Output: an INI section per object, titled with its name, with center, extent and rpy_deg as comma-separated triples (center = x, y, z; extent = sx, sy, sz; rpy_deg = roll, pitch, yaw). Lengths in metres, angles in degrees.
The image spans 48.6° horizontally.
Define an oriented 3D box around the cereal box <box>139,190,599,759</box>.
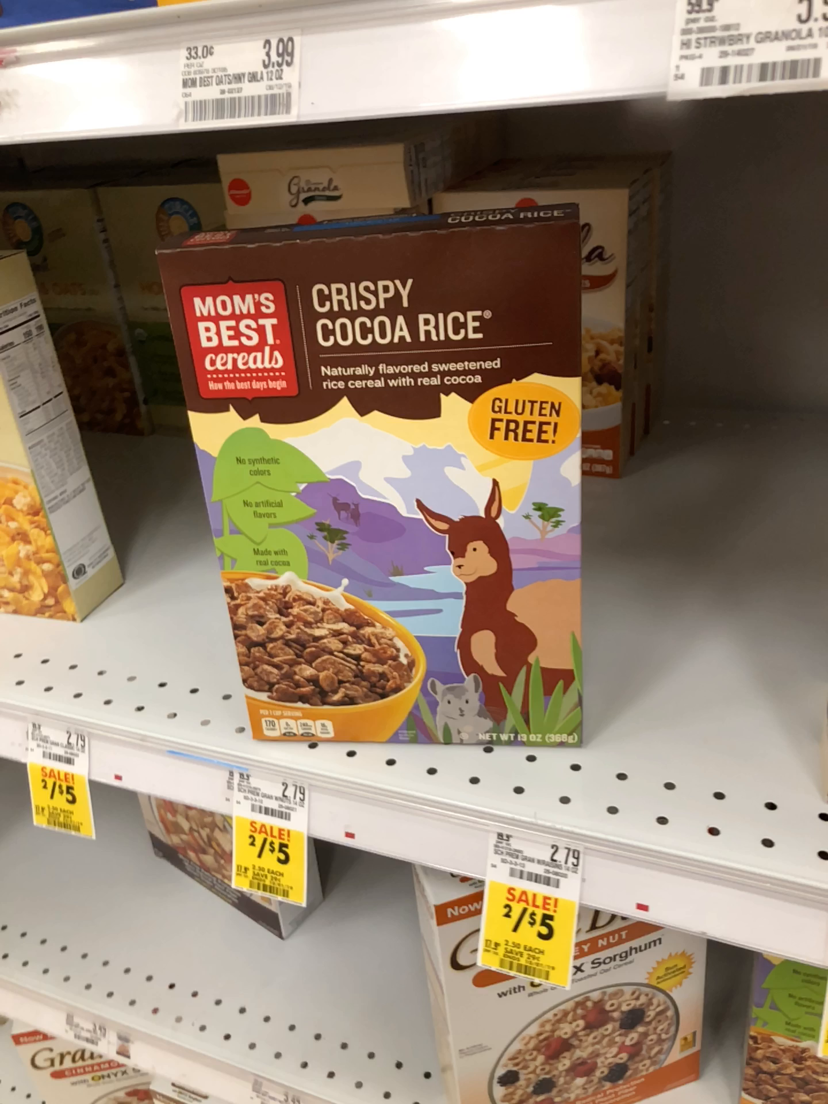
[cereal box]
center = -0.005, -0.031, 0.486
extent = 0.200, 0.279, 0.080
rpy_deg = -1, 26, 10
